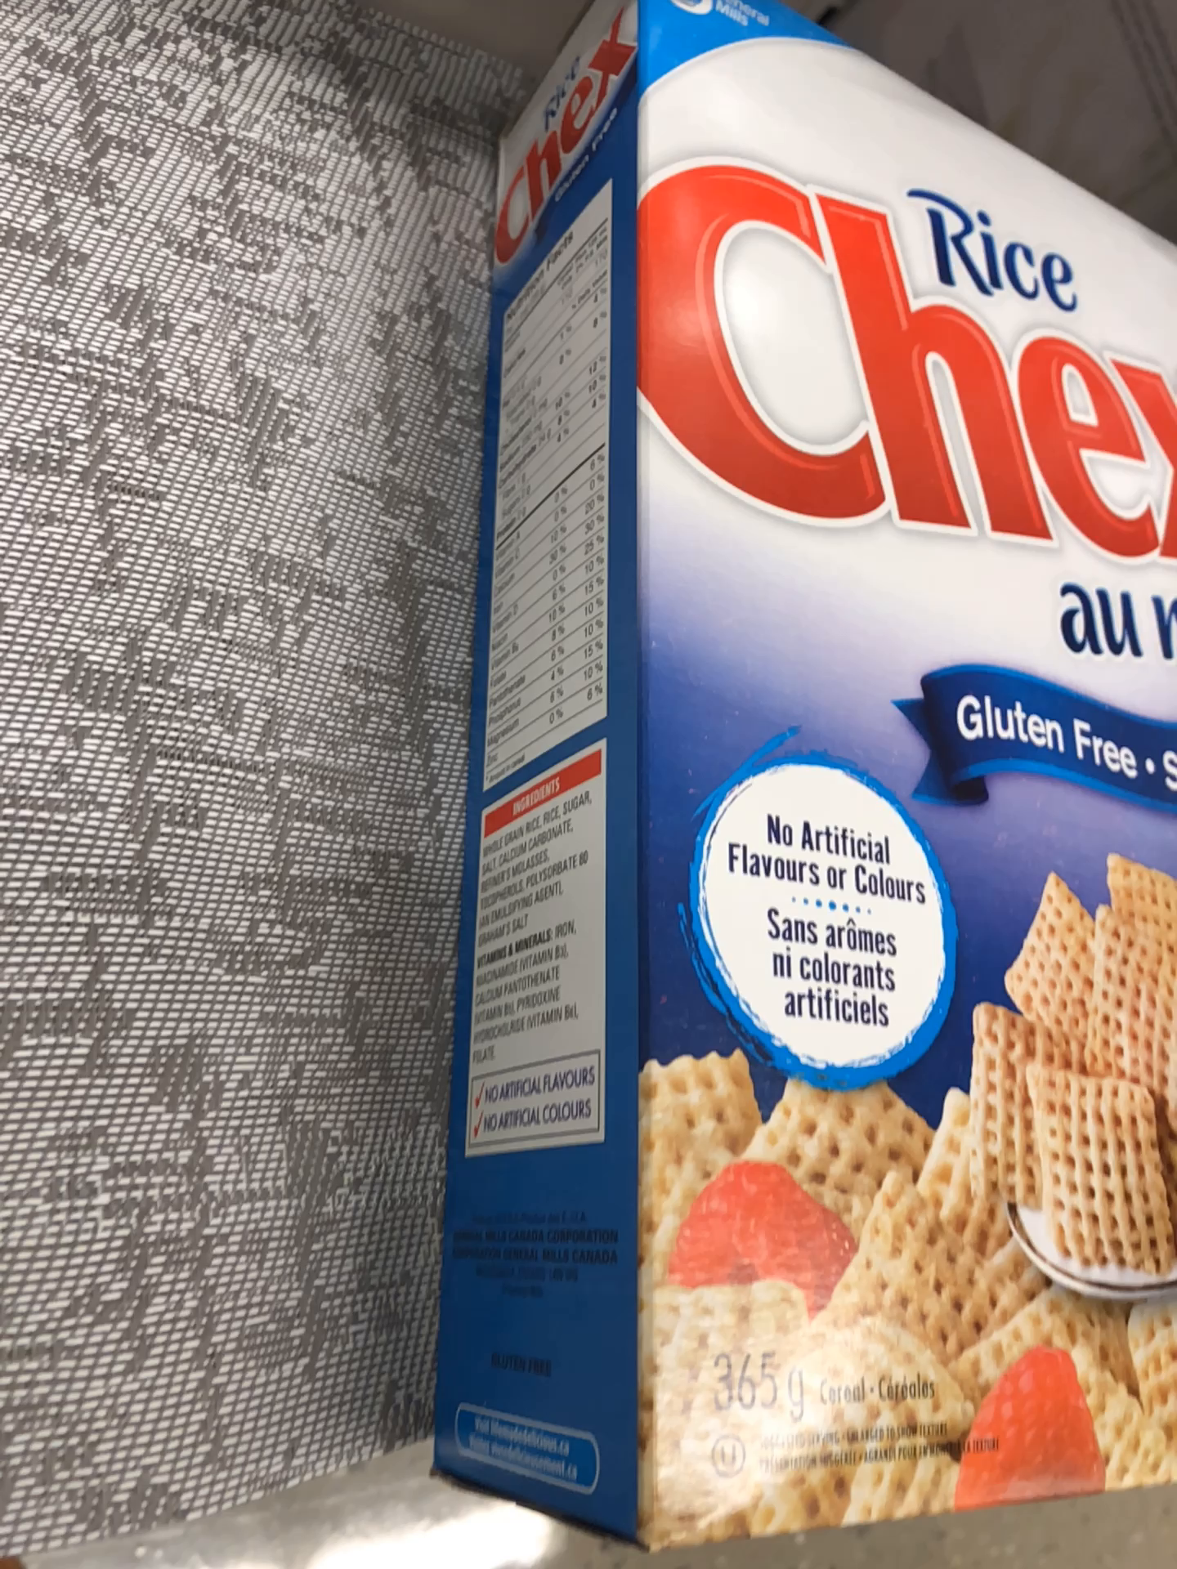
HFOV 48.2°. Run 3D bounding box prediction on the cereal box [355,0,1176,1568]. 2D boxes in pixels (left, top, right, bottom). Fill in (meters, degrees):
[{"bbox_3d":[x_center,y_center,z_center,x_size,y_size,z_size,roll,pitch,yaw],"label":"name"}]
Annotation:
[{"bbox_3d":[0.069,-0.014,0.296,0.211,0.070,0.300,13,66,-31],"label":"cereal box"}]
